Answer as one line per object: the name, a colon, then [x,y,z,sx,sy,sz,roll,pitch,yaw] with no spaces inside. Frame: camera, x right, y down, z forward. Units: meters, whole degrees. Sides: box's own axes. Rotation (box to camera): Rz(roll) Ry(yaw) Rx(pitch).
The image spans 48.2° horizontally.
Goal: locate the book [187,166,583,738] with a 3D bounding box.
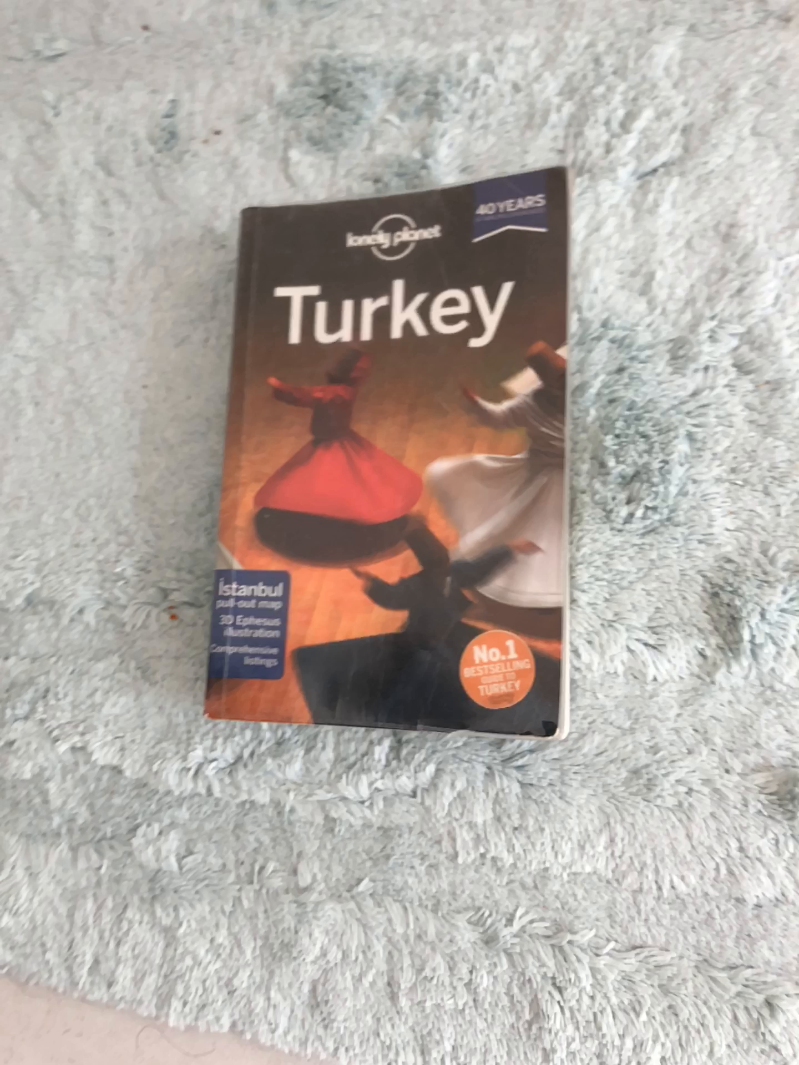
book: [-0.002,-0.027,0.331,0.130,0.046,0.190,0,82,17]
